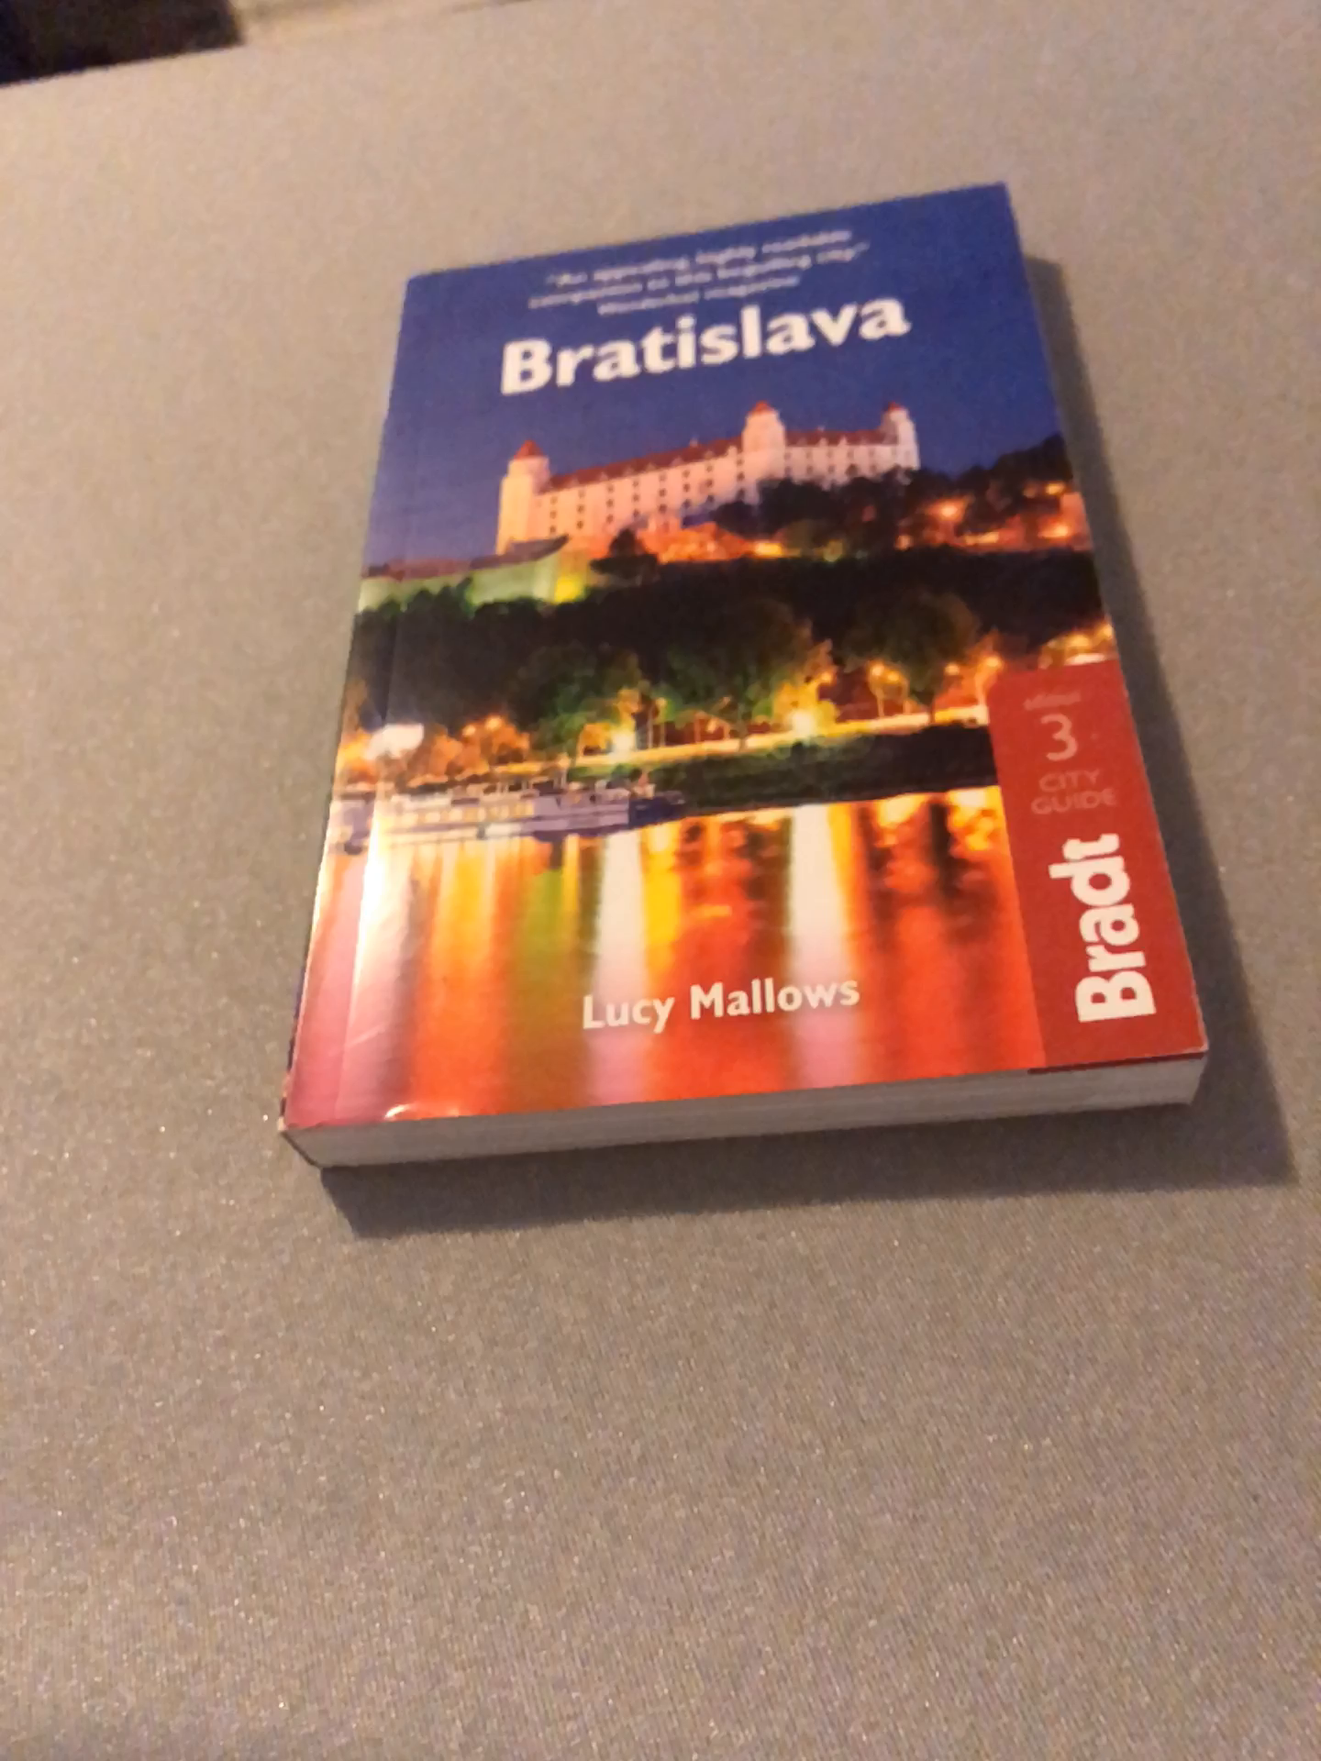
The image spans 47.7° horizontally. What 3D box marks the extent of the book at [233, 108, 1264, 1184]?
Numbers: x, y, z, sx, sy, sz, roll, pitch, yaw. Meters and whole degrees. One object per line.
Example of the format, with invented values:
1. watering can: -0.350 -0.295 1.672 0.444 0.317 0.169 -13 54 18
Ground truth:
1. book: 0.011 -0.054 0.265 0.140 0.020 0.210 -6 57 11
